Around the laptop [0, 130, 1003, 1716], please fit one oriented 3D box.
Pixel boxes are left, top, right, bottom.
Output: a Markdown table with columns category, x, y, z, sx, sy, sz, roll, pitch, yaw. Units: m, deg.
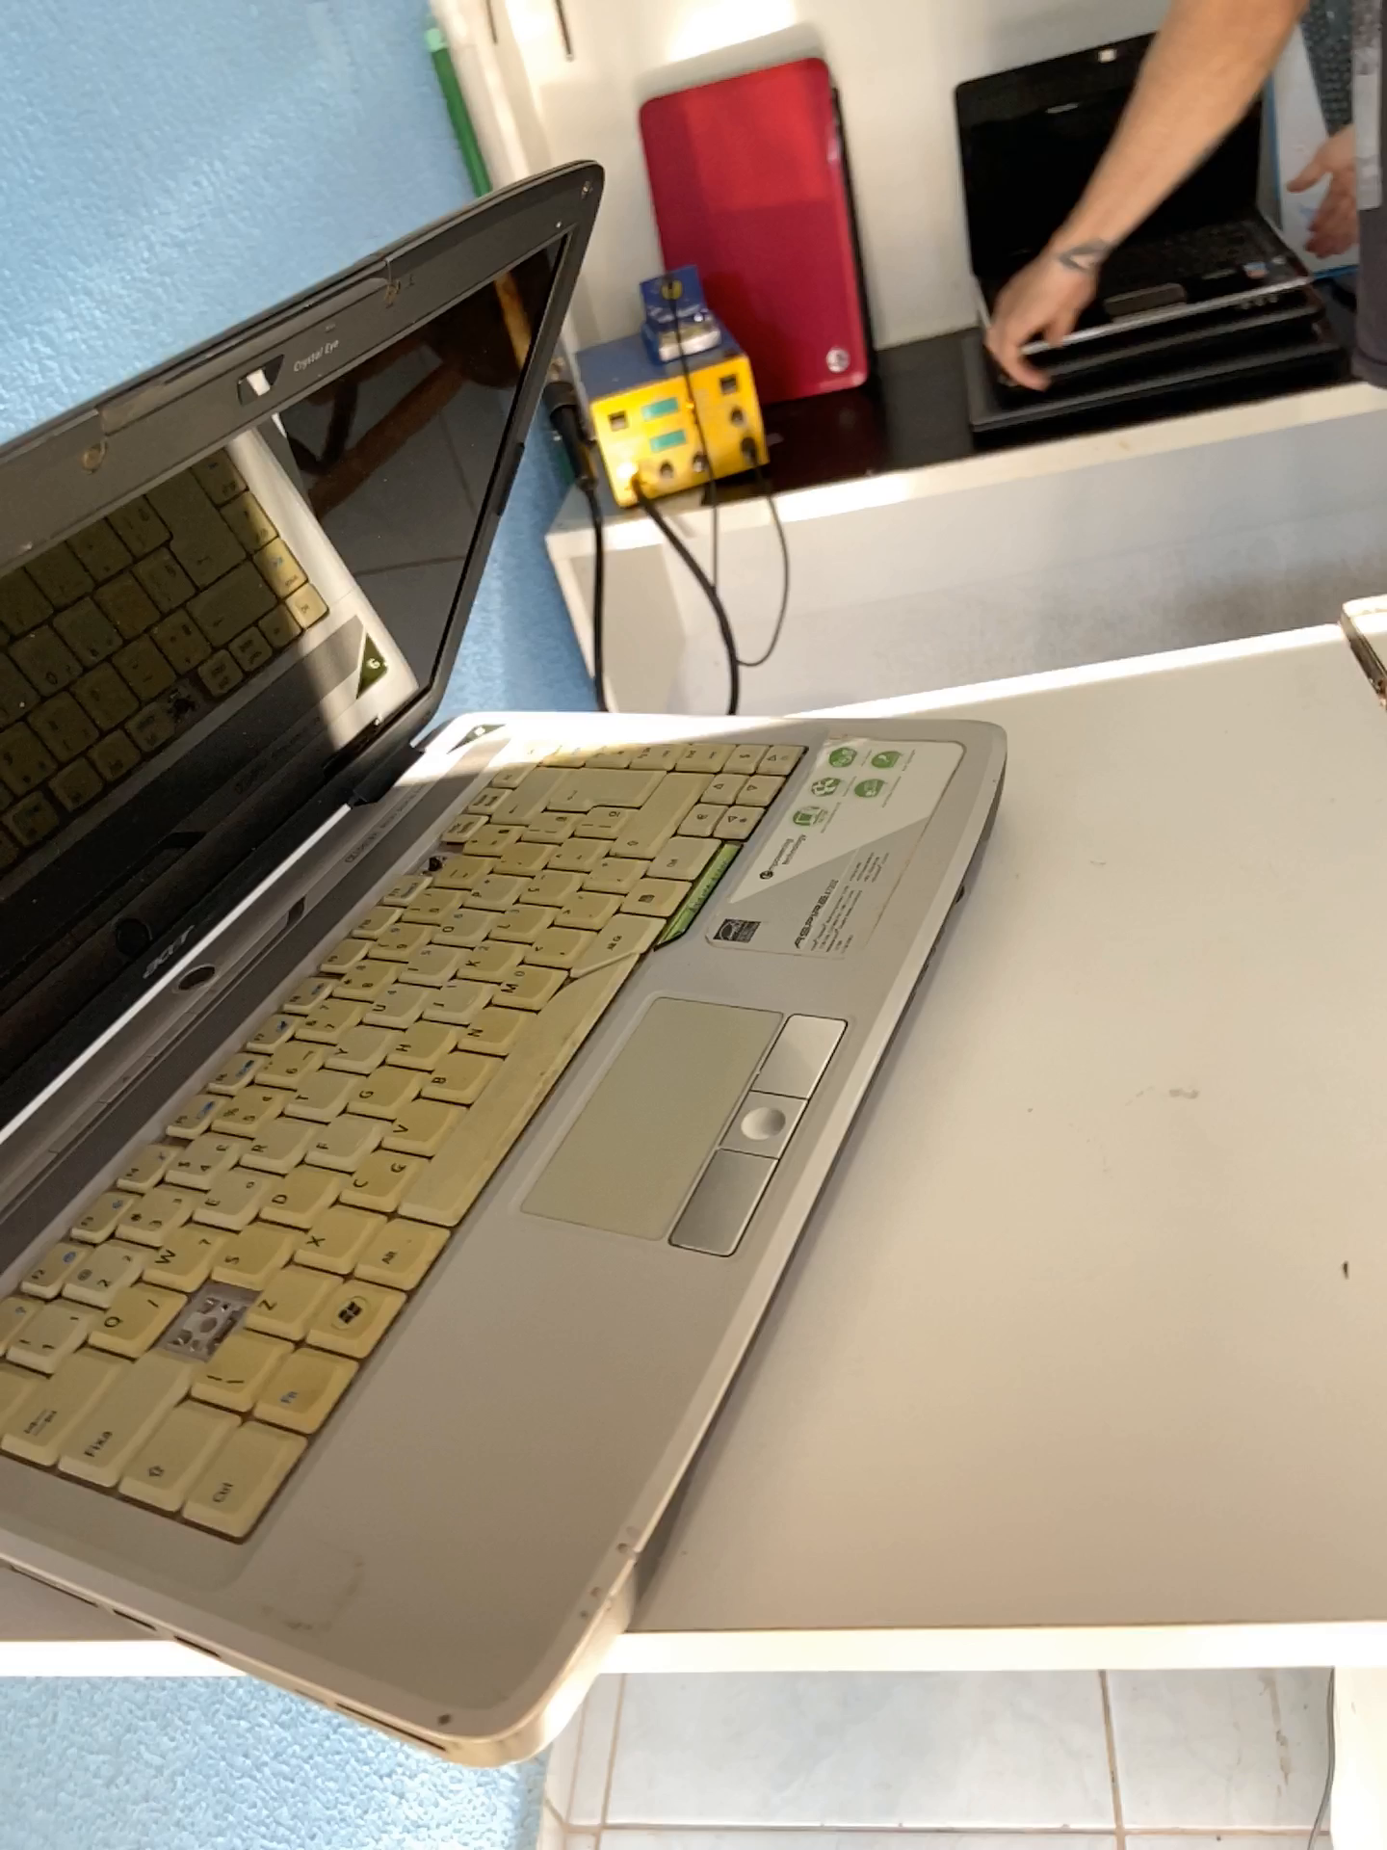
| category | x | y | z | sx | sy | sz | roll | pitch | yaw |
| --- | --- | --- | --- | --- | --- | --- | --- | --- | --- |
| laptop | -0.089 | -0.044 | 0.361 | 0.225 | 0.179 | 0.330 | 5 | 40 | 28 |
